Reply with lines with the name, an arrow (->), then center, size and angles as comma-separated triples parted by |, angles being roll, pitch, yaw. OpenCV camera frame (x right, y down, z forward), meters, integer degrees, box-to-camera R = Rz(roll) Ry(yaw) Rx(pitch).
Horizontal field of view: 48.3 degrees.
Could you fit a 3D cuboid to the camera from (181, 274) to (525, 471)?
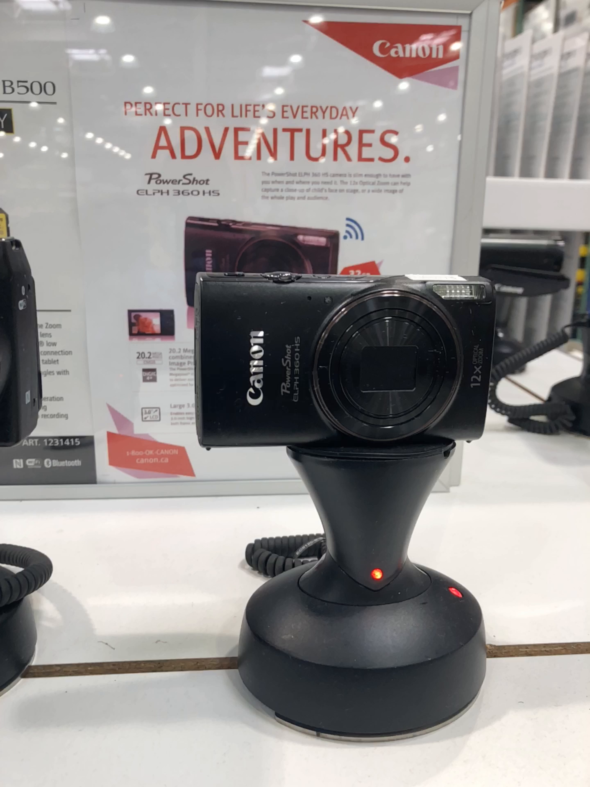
camera -> 0.017, -0.010, 0.233 | 0.110, 0.060, 0.040 | -1, 15, -8
